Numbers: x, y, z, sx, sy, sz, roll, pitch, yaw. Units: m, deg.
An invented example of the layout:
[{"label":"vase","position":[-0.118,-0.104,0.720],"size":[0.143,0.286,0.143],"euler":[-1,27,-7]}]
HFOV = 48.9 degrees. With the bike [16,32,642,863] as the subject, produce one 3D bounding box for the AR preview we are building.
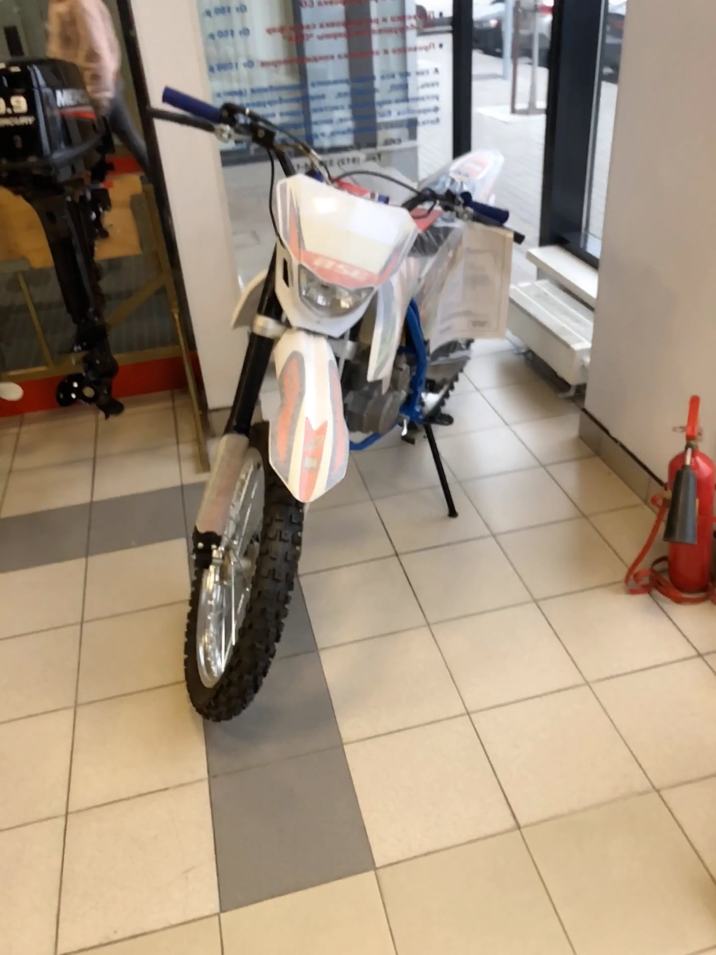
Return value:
[{"label":"bike","position":[0.190,-0.349,2.094],"size":[0.843,1.220,1.854],"euler":[8,36,19]}]
